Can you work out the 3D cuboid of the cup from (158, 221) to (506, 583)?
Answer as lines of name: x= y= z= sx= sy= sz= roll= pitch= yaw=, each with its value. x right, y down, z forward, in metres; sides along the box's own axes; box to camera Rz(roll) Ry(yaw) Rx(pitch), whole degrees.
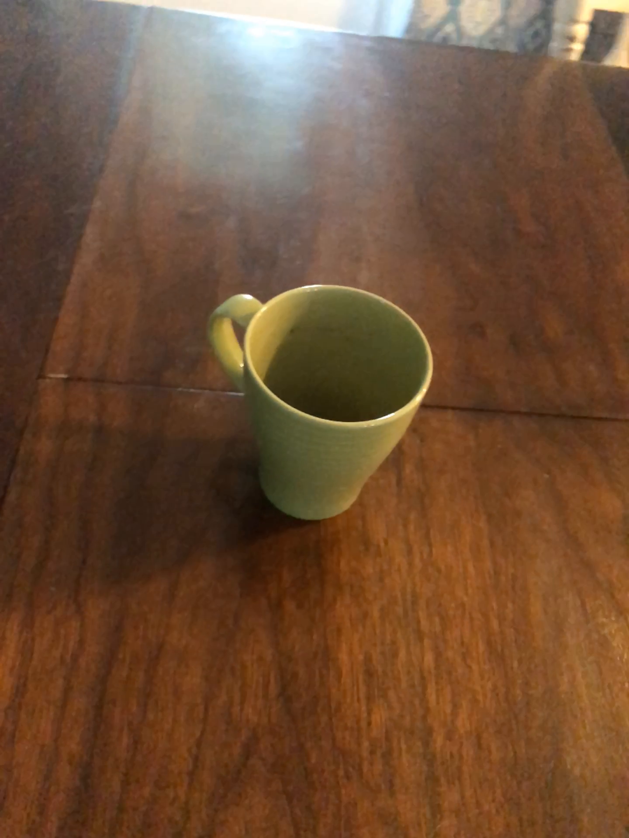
cup: x=0.003 y=-0.010 z=0.334 sx=0.120 sy=0.090 sz=0.090 roll=37 pitch=56 yaw=19
